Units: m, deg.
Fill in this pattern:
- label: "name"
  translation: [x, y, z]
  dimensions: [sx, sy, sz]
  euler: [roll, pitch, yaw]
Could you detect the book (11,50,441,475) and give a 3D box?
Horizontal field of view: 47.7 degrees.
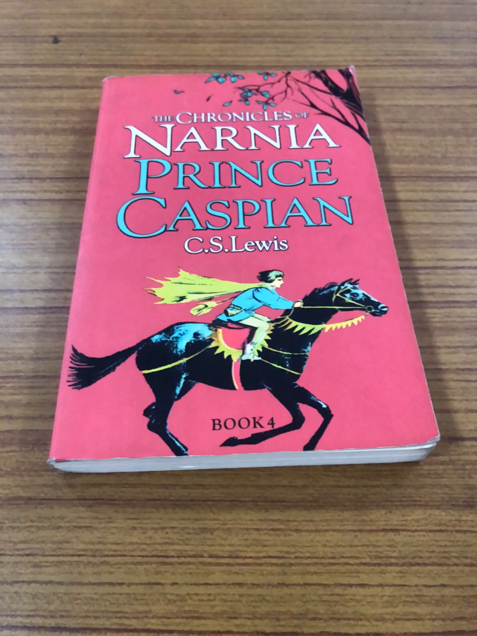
- label: "book"
  translation: [-0.006, -0.037, 0.223]
  dimensions: [0.130, 0.030, 0.190]
  euler: [-1, 60, 0]
